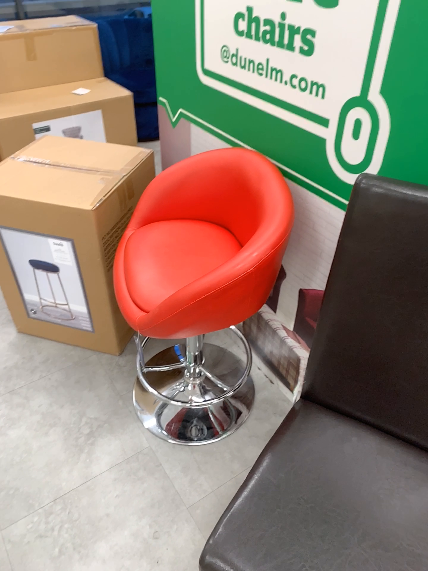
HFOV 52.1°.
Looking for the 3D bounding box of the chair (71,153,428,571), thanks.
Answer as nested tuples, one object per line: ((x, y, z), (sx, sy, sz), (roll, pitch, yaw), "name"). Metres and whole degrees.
((0.215, 0.325, 0.754), (0.505, 0.853, 0.534), (18, 42, 20), "chair")

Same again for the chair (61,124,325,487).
((-0.094, 0.048, 1.193), (0.461, 0.744, 0.539), (-10, 40, -13), "chair")
